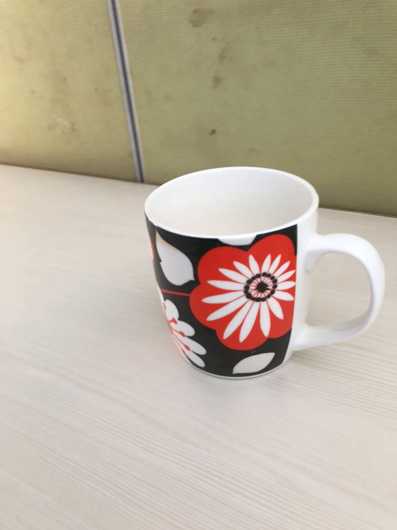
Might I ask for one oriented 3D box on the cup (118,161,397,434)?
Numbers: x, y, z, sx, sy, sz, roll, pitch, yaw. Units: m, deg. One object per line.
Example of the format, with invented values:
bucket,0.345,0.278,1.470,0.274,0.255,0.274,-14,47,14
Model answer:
cup,0.041,0.006,0.229,0.120,0.089,0.091,7,32,20
